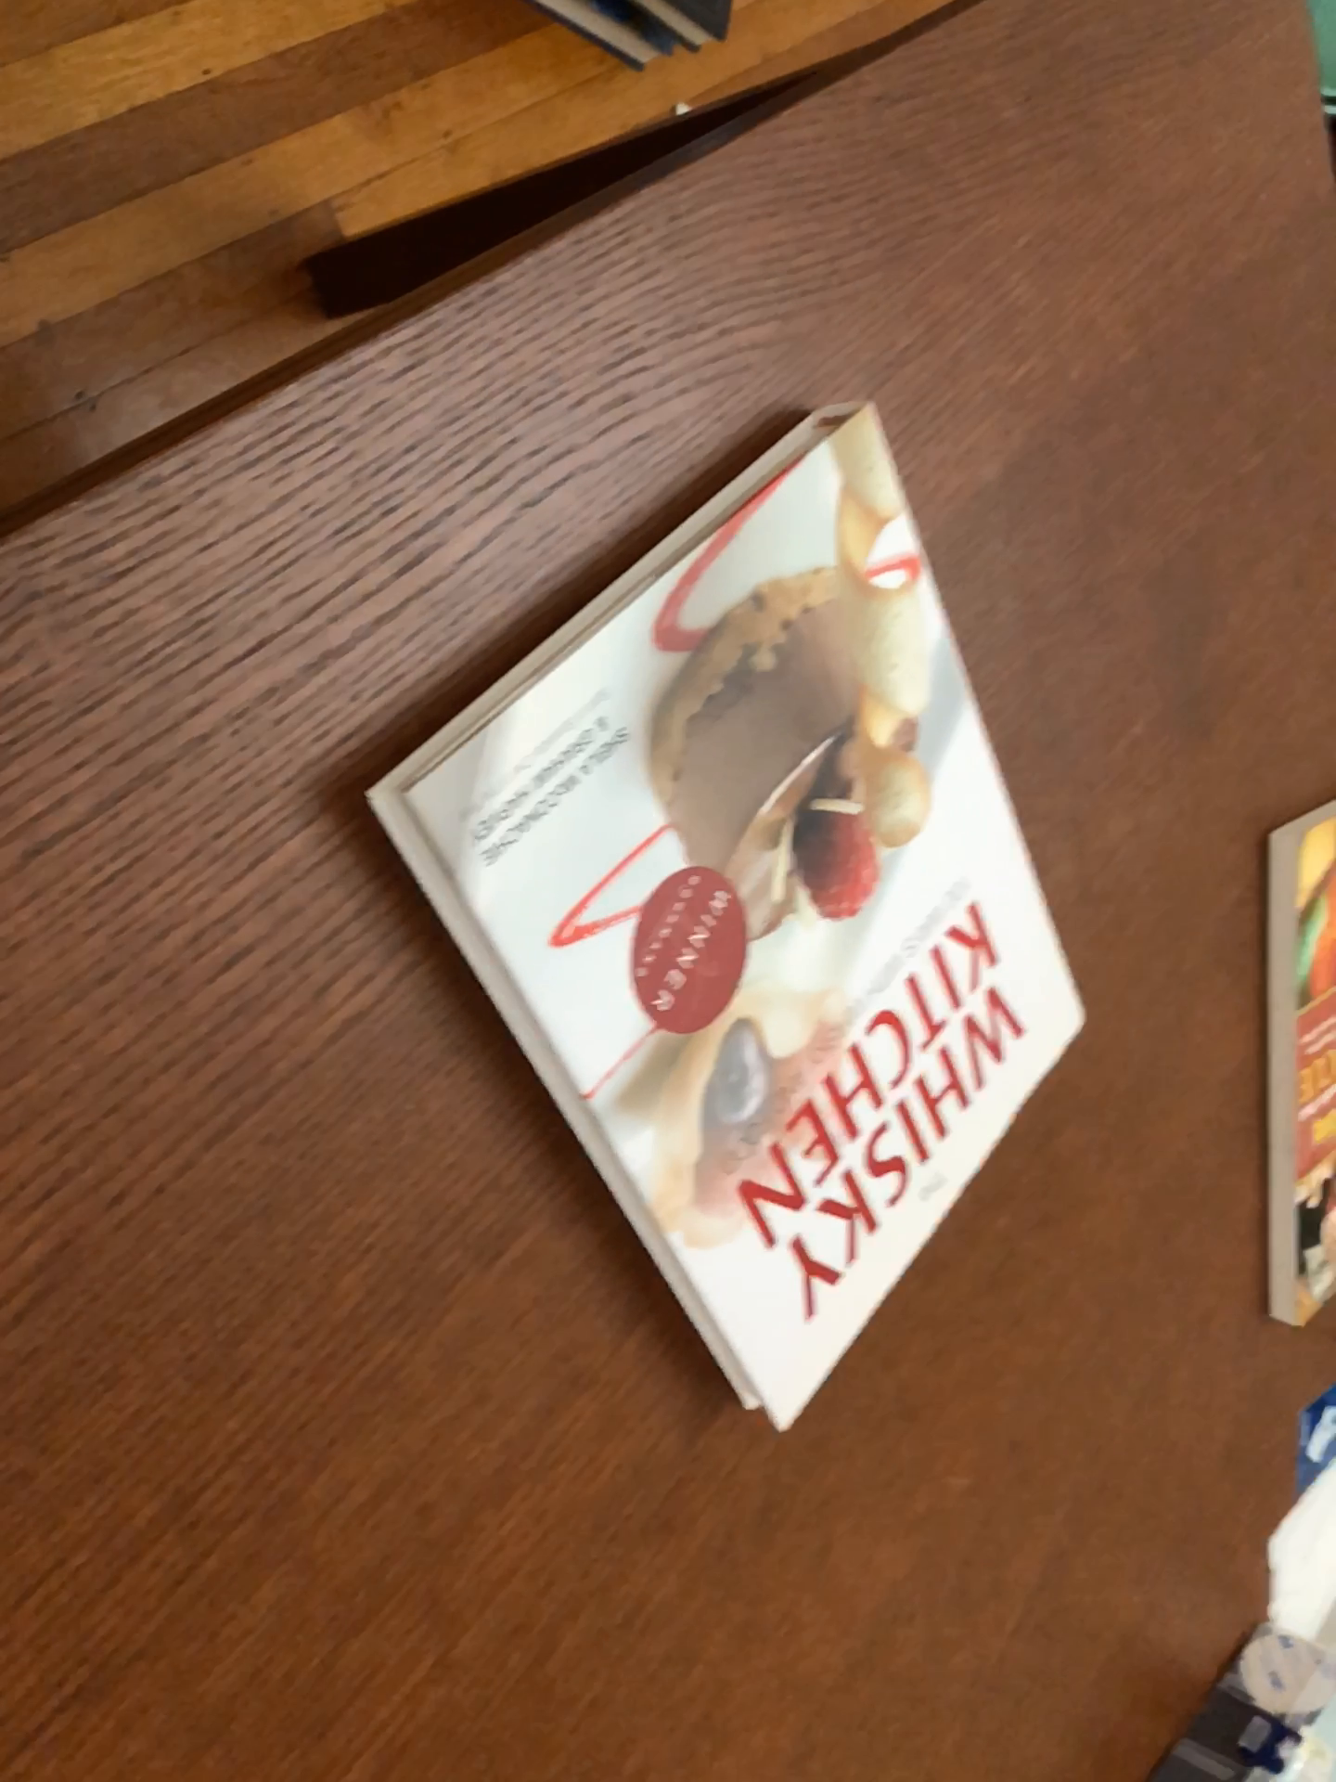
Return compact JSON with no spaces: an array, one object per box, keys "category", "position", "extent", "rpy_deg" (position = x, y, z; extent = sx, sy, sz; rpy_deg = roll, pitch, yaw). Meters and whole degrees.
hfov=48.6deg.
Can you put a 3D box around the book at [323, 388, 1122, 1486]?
[{"category":"book","position":[0.047,0.017,0.480],"extent":[0.221,0.040,0.270],"rpy_deg":[-46,125,-30]}]
